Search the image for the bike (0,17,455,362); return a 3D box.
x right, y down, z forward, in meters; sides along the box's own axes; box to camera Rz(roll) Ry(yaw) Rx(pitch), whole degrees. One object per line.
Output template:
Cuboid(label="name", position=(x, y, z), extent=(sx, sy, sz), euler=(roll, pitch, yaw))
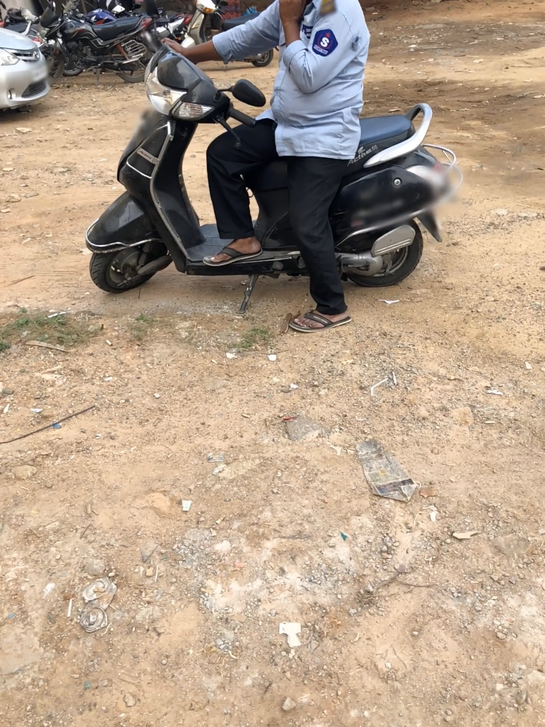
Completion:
Cuboid(label="bike", position=(-0.111, -0.693, 2.500), extent=(1.522, 1.102, 0.578), euler=(-5, 33, 5))
